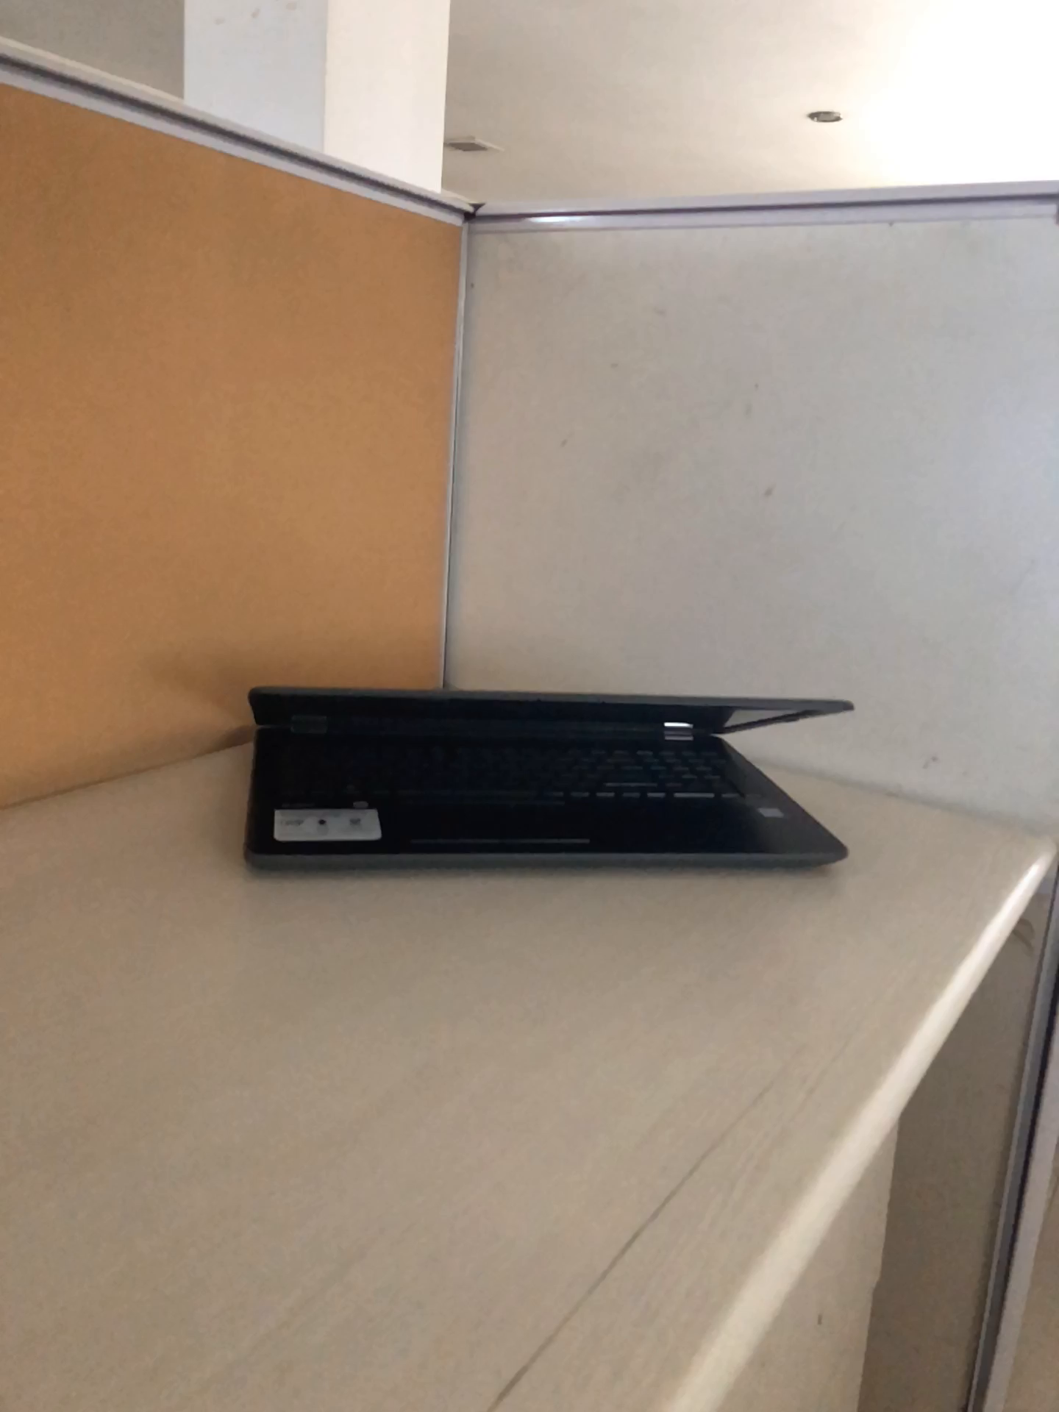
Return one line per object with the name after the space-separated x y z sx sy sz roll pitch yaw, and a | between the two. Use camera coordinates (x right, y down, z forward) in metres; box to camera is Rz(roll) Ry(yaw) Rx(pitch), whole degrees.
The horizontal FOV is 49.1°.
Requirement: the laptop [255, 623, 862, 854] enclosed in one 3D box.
0.000 0.015 0.793 0.362 0.074 0.238 1 17 -12 | laptop
